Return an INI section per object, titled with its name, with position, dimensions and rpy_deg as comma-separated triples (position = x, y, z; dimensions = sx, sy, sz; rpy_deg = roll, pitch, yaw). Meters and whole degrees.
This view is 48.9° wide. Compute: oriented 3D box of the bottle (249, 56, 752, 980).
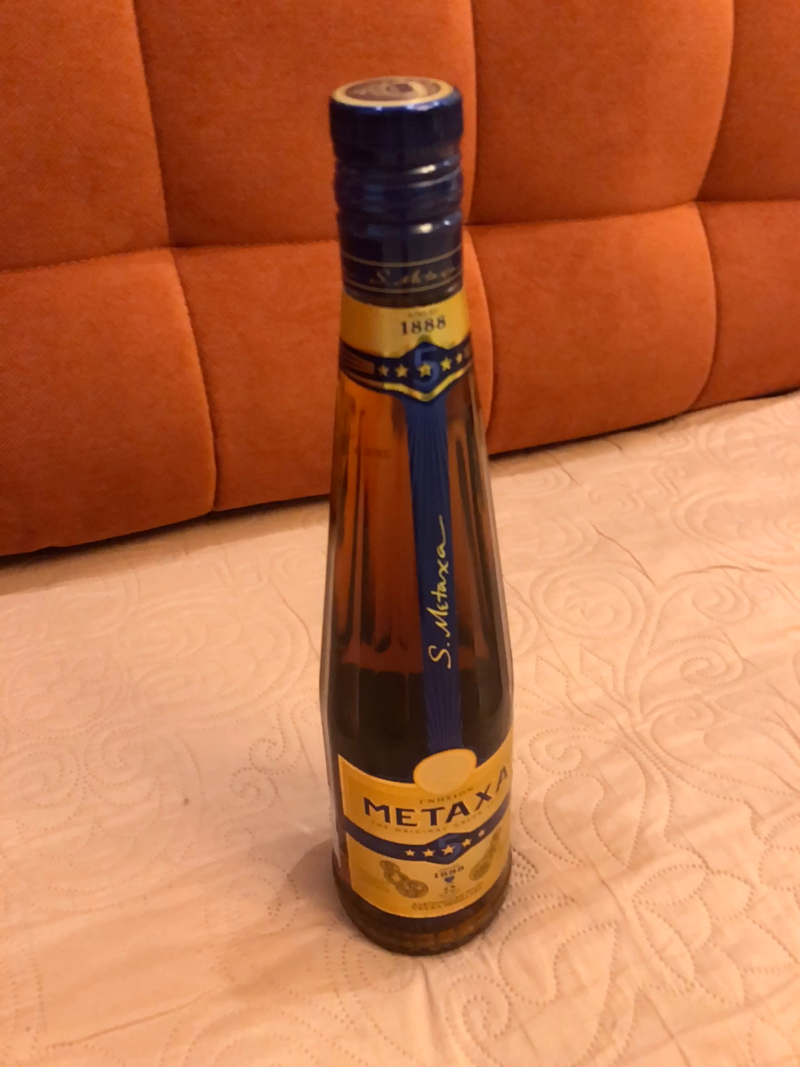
[bottle]
position = 0.011, 0.020, 0.297
dimensions = 0.100, 0.308, 0.091
rpy_deg = -4, 36, -7
